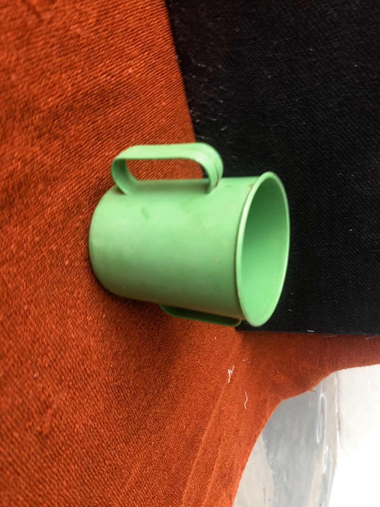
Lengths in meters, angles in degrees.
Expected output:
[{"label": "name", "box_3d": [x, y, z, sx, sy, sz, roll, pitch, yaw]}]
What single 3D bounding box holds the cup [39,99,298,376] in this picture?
[{"label": "cup", "box_3d": [0.001, -0.009, 0.213, 0.080, 0.079, 0.100, -60, 145, -40]}]
